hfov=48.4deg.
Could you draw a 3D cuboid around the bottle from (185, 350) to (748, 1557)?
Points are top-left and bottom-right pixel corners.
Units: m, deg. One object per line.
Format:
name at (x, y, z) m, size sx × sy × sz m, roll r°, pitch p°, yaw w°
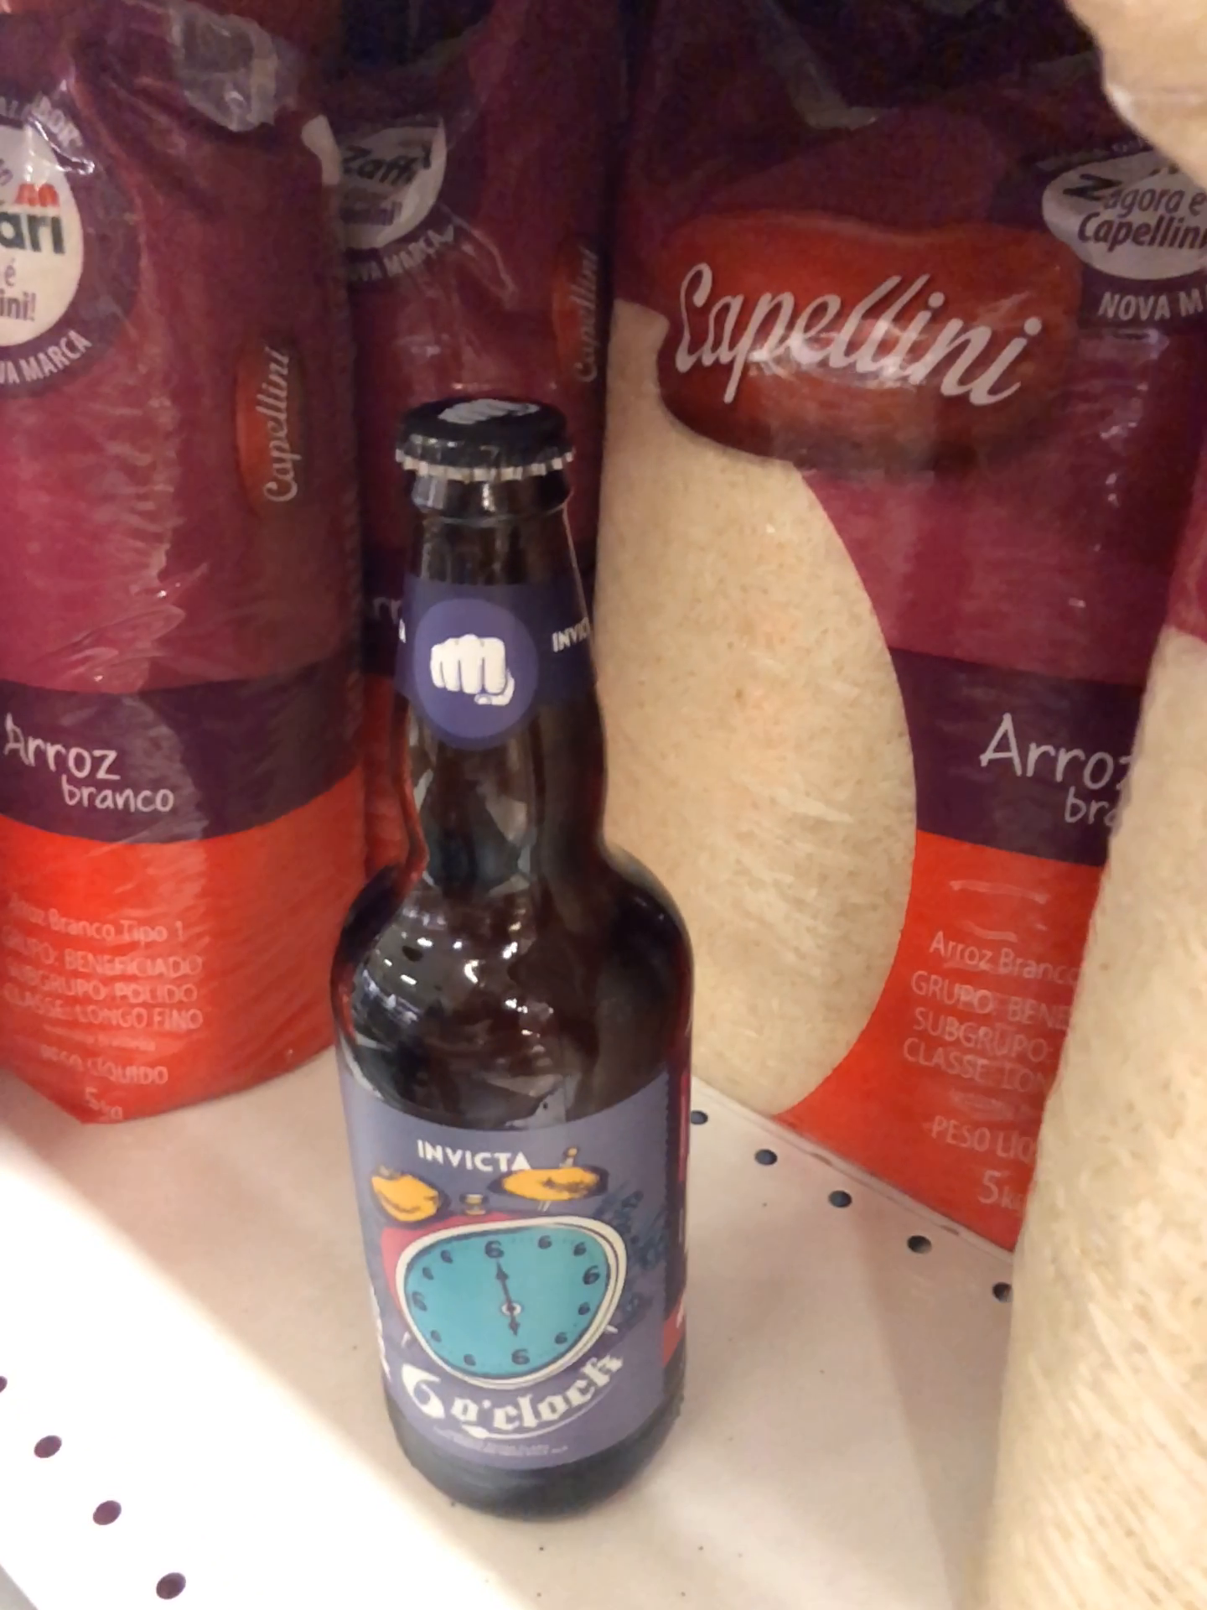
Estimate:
bottle at (-0.014, 0.039, 0.259) m, size 0.070 × 0.228 × 0.071 m, roll 0°, pitch 30°, yaw 0°
